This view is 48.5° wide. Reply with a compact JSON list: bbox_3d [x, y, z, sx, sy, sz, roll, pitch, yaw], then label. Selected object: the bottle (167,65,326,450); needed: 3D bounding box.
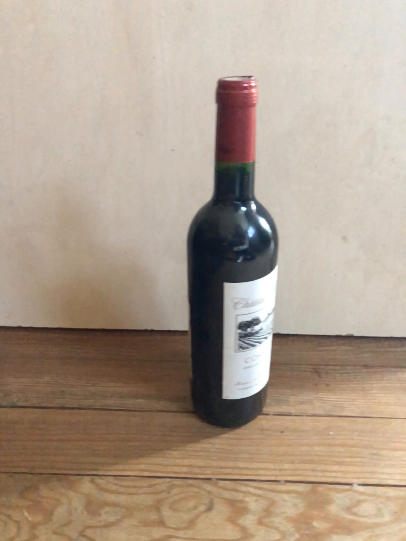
[{"bbox_3d":[0.029,0.002,0.356,0.070,0.288,0.081,19,35,28],"label":"bottle"}]
